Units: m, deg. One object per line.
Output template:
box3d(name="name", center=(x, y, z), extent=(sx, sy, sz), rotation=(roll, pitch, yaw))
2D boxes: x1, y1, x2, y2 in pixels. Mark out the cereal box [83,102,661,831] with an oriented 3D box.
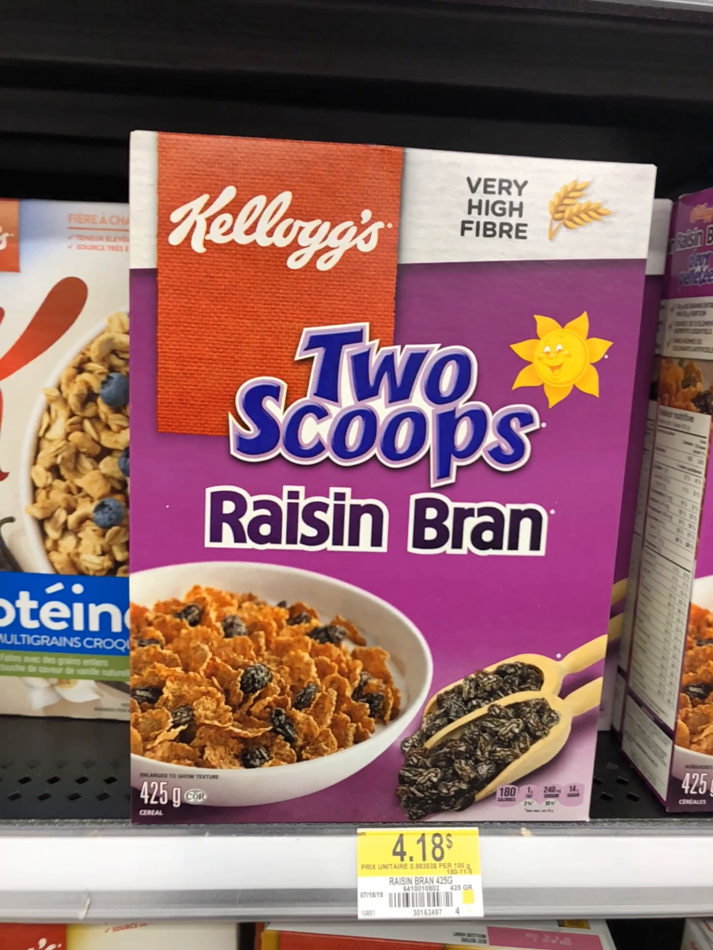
box3d(name="cereal box", center=(0.000, 0.006, 0.322), extent=(0.200, 0.269, 0.050), rotation=(2, 11, -6))
